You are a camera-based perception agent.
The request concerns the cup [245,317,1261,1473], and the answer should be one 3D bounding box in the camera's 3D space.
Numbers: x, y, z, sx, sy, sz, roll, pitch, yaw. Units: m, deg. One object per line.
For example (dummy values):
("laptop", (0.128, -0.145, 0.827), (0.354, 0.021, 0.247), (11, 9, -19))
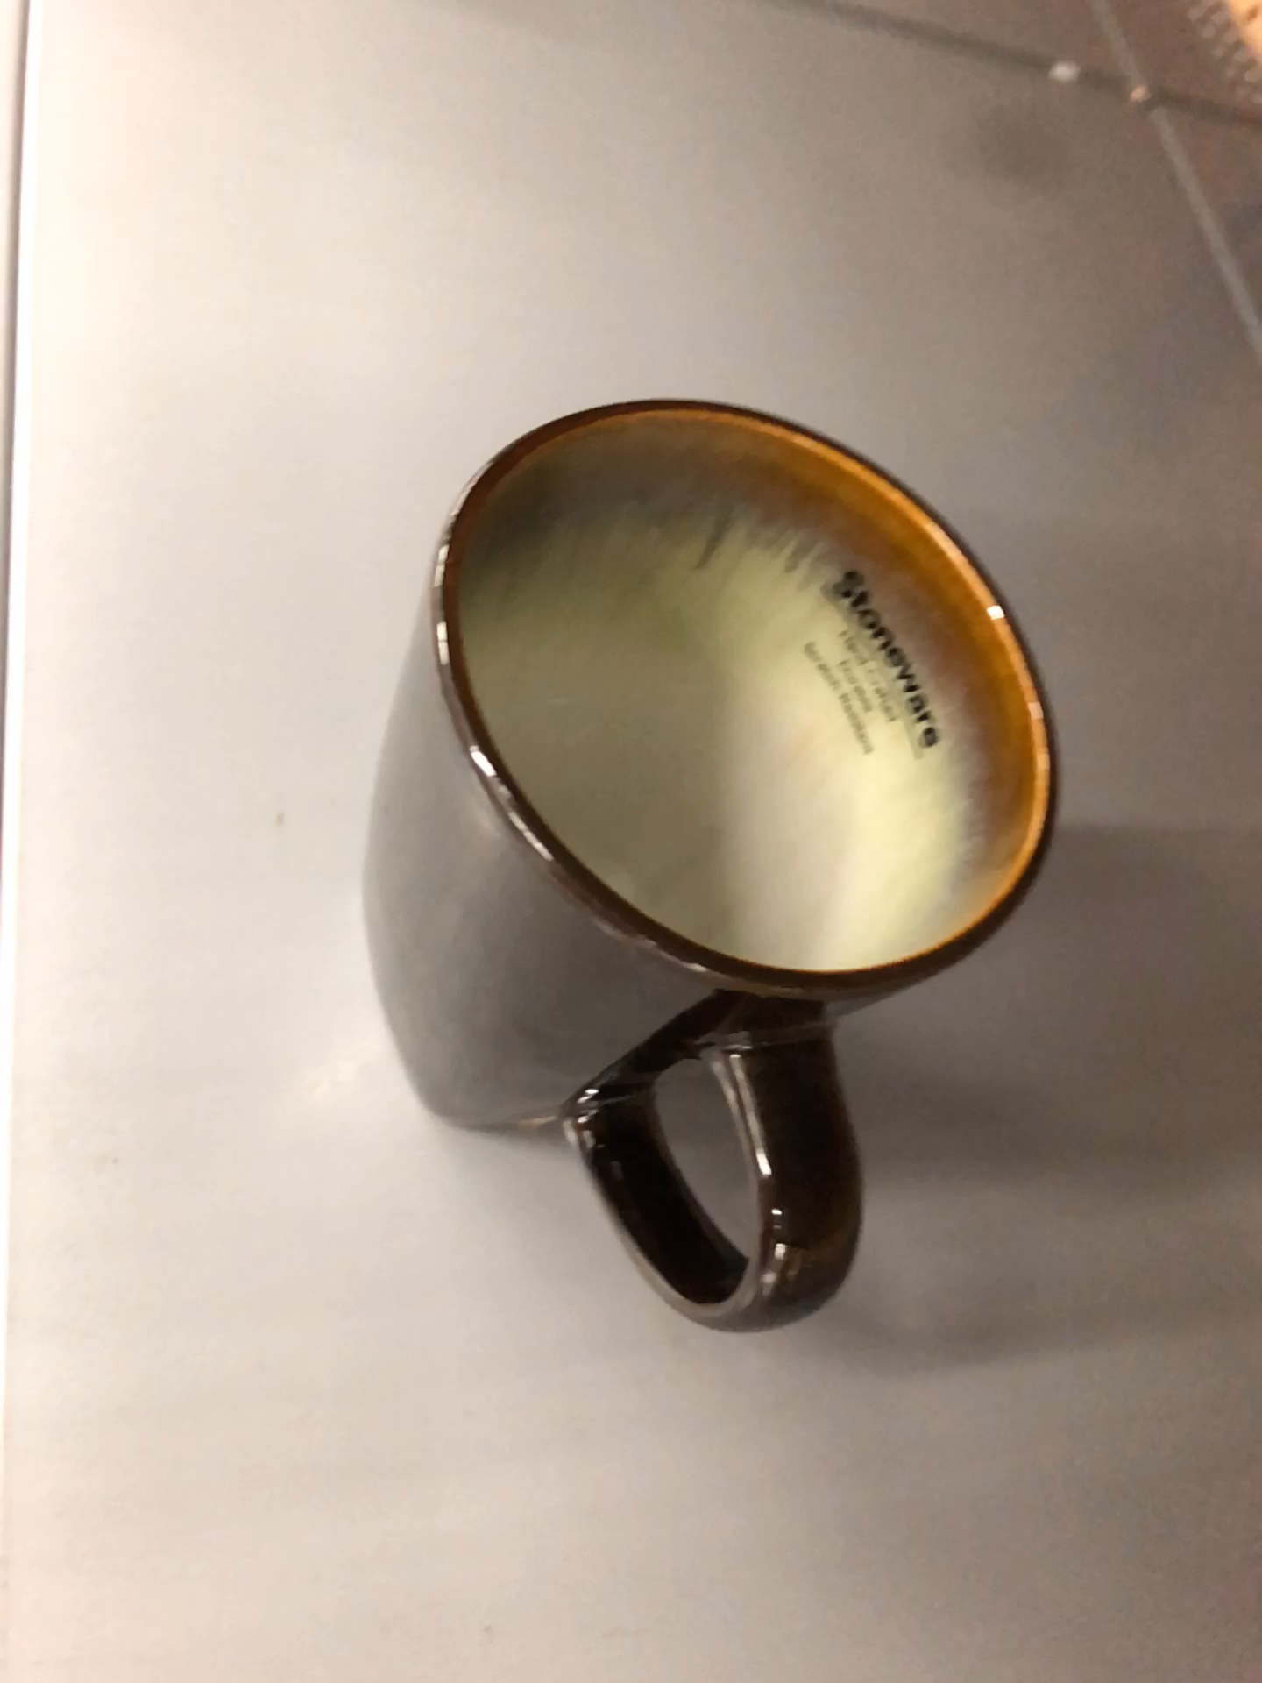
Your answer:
("cup", (0.007, 0.010, 0.220), (0.095, 0.099, 0.135), (-7, 68, -26))
